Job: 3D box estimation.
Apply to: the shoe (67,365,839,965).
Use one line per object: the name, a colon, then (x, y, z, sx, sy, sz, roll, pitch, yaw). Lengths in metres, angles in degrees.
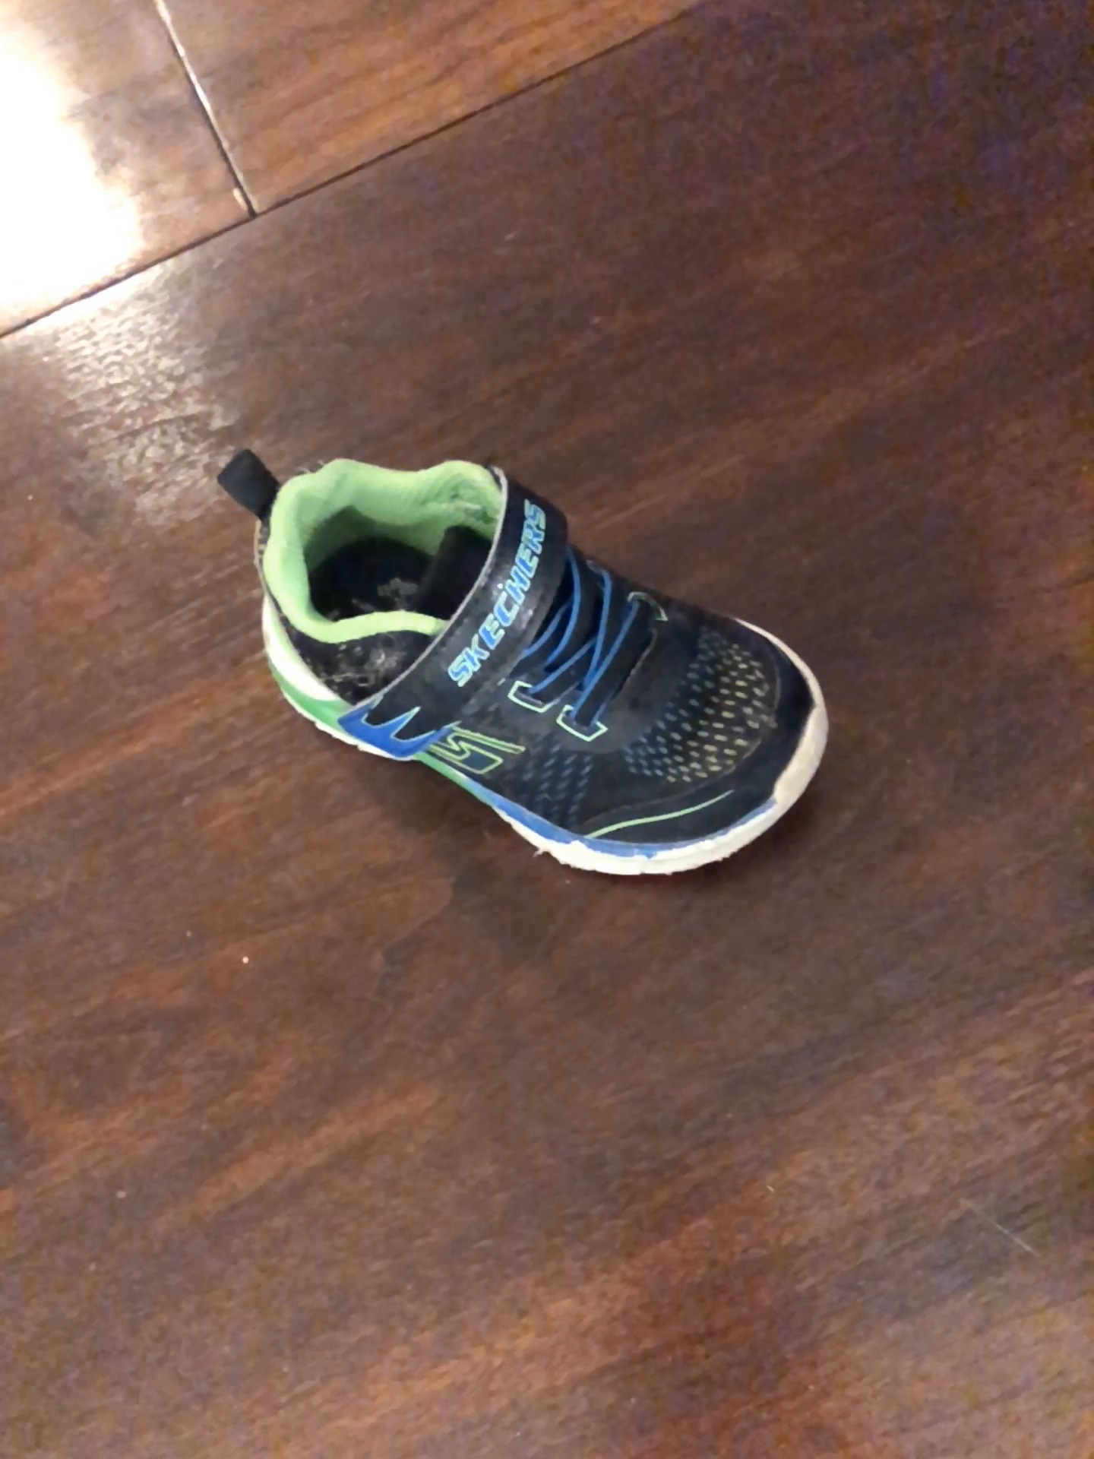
shoe: (-0.021, -0.017, 0.326, 0.170, 0.080, 0.080, 23, 74, 17)
